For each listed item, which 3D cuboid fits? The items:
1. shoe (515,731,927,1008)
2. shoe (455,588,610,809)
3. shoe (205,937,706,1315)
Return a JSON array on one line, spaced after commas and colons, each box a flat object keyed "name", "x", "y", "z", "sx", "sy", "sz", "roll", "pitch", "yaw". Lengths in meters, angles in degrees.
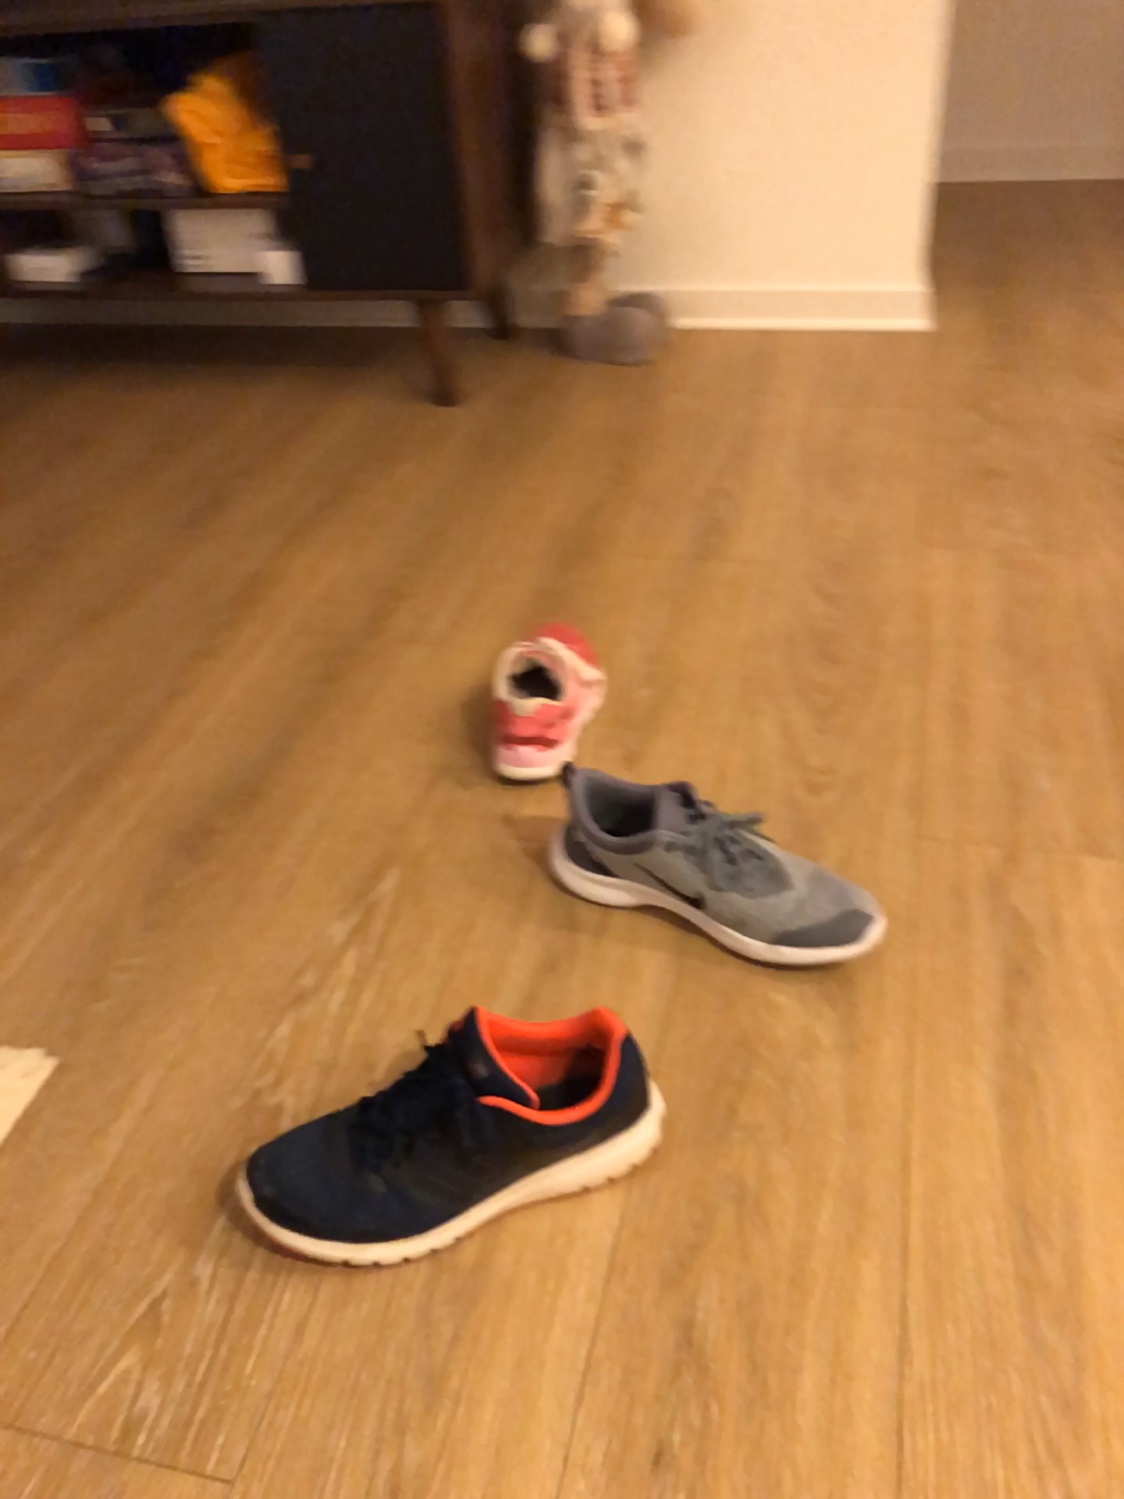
[{"name": "shoe", "x": 0.134, "y": 0.095, "z": 1.078, "sx": 0.320, "sy": 0.099, "sz": 0.131, "roll": 15, "pitch": 40, "yaw": 25}, {"name": "shoe", "x": -0.024, "y": -0.064, "z": 1.350, "sx": 0.120, "sy": 0.099, "sz": 0.282, "roll": 1, "pitch": 36, "yaw": 8}, {"name": "shoe", "x": -0.072, "y": 0.257, "z": 0.877, "sx": 0.320, "sy": 0.099, "sz": 0.131, "roll": -15, "pitch": 37, "yaw": -14}]
